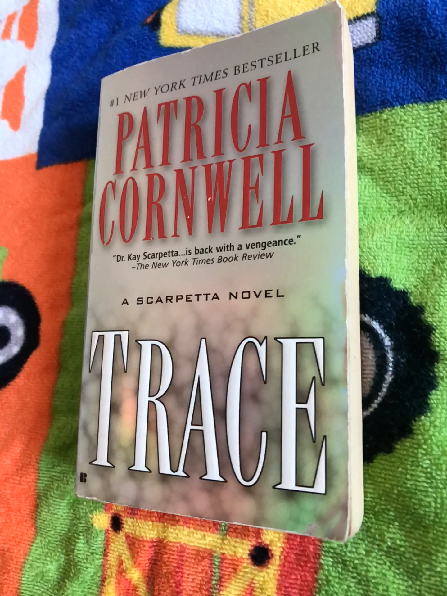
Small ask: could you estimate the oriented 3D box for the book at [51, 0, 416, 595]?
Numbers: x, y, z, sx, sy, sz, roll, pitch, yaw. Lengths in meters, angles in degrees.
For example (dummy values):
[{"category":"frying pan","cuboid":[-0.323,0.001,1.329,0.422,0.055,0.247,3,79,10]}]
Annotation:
[{"category":"book","cuboid":[0.003,-0.009,0.186,0.120,0.040,0.180,-2,80,28]}]
